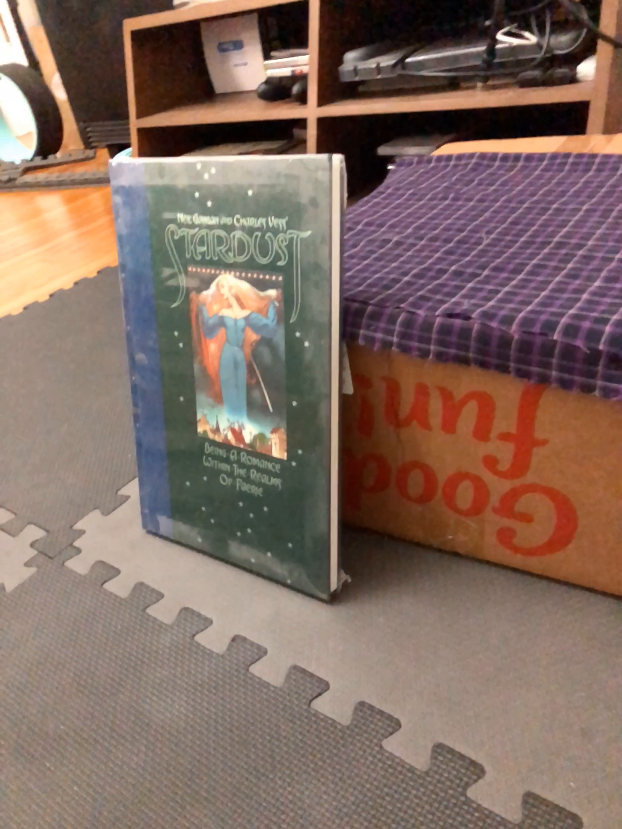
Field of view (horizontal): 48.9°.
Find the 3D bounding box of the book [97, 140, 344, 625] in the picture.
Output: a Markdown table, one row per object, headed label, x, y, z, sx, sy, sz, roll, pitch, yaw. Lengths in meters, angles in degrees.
| label | x | y | z | sx | sy | sz | roll | pitch | yaw |
| --- | --- | --- | --- | --- | --- | --- | --- | --- | --- |
| book | -0.069 | -0.024 | 0.515 | 0.210 | 0.329 | 0.020 | 11 | 21 | 34 |
